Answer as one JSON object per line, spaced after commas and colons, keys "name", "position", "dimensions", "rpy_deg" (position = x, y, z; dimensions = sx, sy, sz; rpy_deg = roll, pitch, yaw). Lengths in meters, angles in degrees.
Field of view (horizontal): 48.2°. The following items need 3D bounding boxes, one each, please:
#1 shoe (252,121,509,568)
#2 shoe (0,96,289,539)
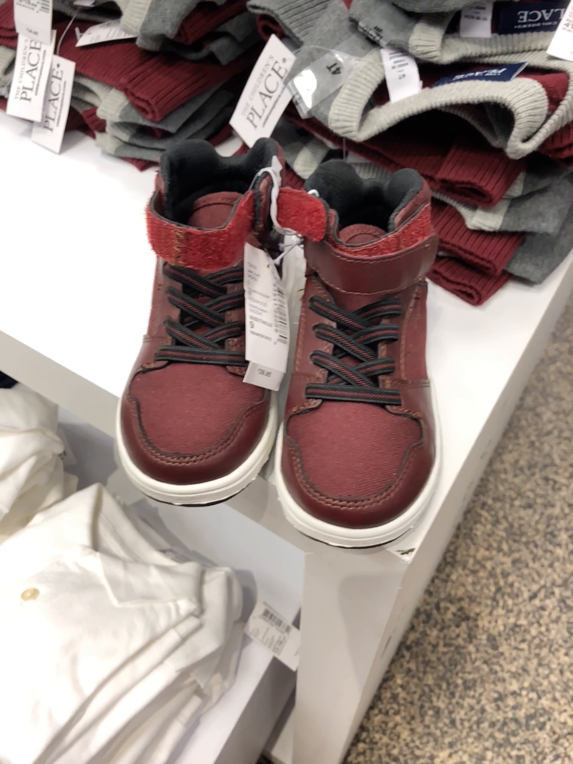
{"name": "shoe", "position": [0.036, -0.025, 0.295], "dimensions": [0.080, 0.100, 0.181], "rpy_deg": [5, 51, 3]}
{"name": "shoe", "position": [-0.042, -0.032, 0.274], "dimensions": [0.070, 0.100, 0.160], "rpy_deg": [5, 51, 3]}
